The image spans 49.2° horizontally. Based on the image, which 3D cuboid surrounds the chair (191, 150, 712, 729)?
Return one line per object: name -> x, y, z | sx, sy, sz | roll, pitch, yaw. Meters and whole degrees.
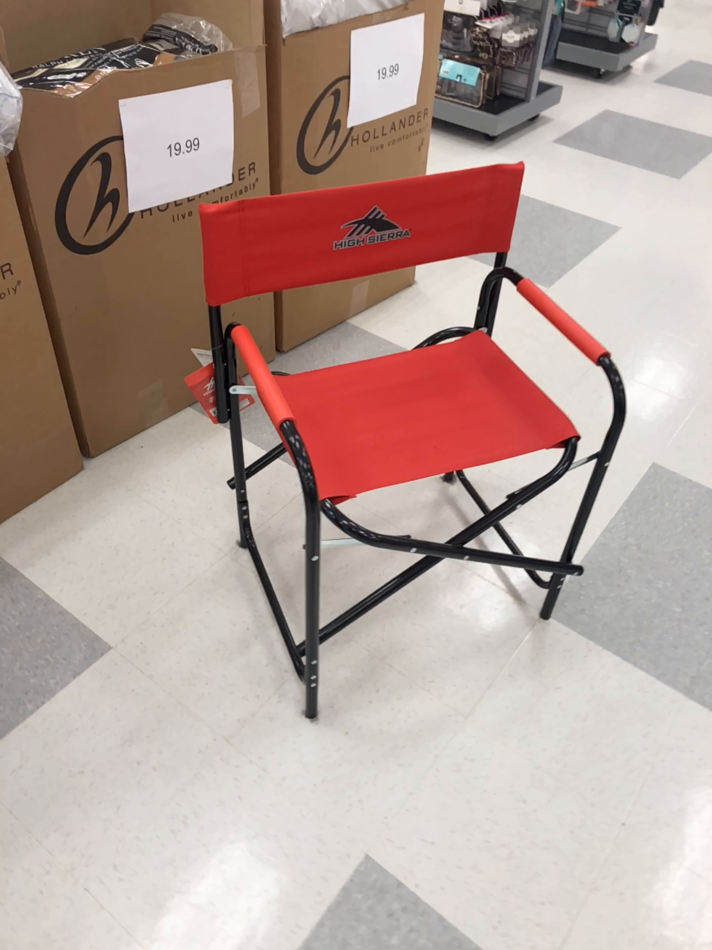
chair -> 0.108, -0.065, 1.335 | 0.593, 0.729, 0.491 | -15, 46, -19
